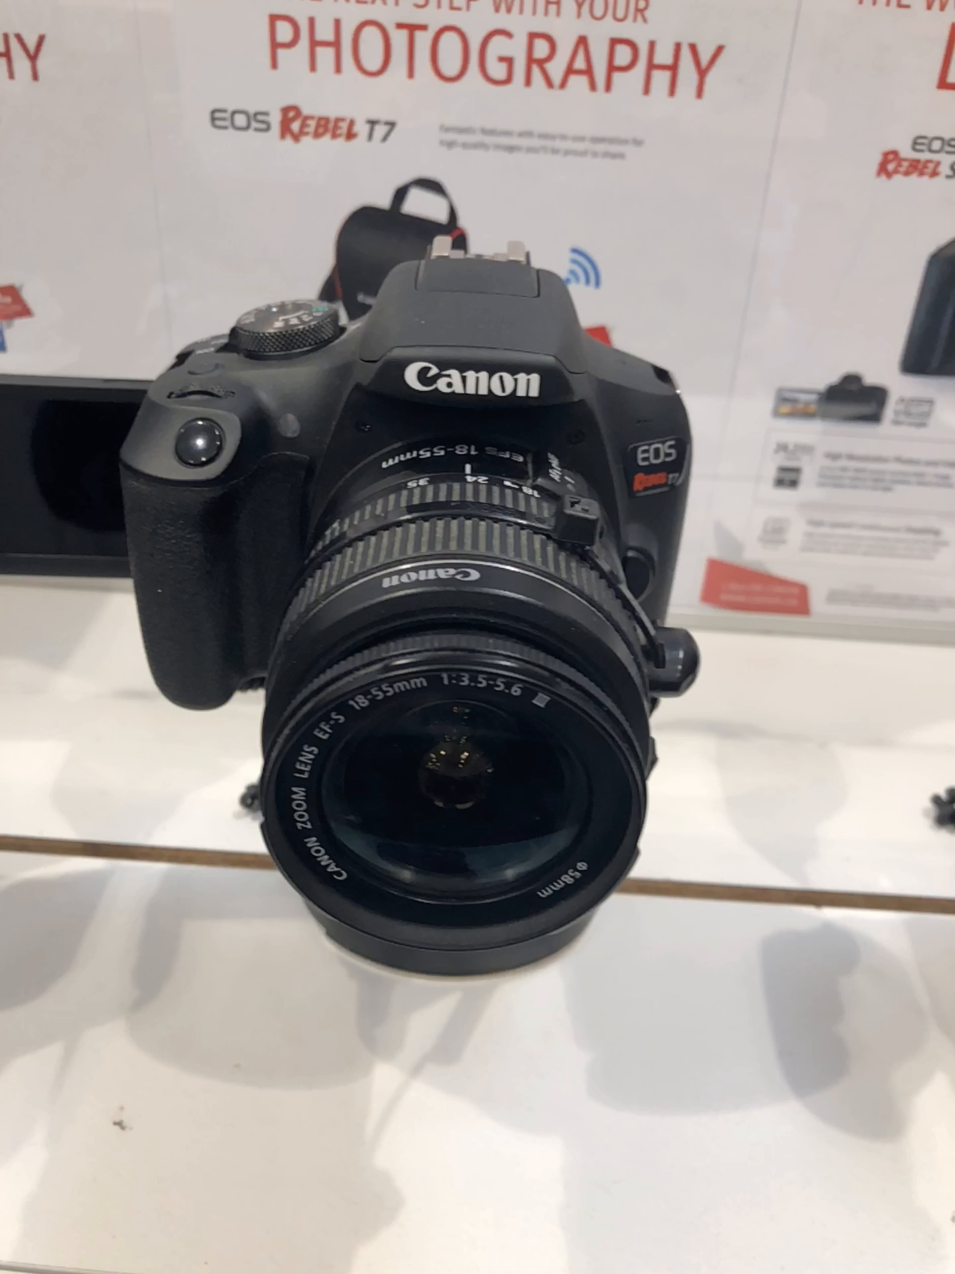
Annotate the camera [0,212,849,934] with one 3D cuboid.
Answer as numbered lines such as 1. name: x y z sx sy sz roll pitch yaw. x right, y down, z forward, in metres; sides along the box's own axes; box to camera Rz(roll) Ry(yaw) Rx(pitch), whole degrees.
1. camera: -0.015 -0.021 0.226 0.130 0.099 0.121 3 33 -1
